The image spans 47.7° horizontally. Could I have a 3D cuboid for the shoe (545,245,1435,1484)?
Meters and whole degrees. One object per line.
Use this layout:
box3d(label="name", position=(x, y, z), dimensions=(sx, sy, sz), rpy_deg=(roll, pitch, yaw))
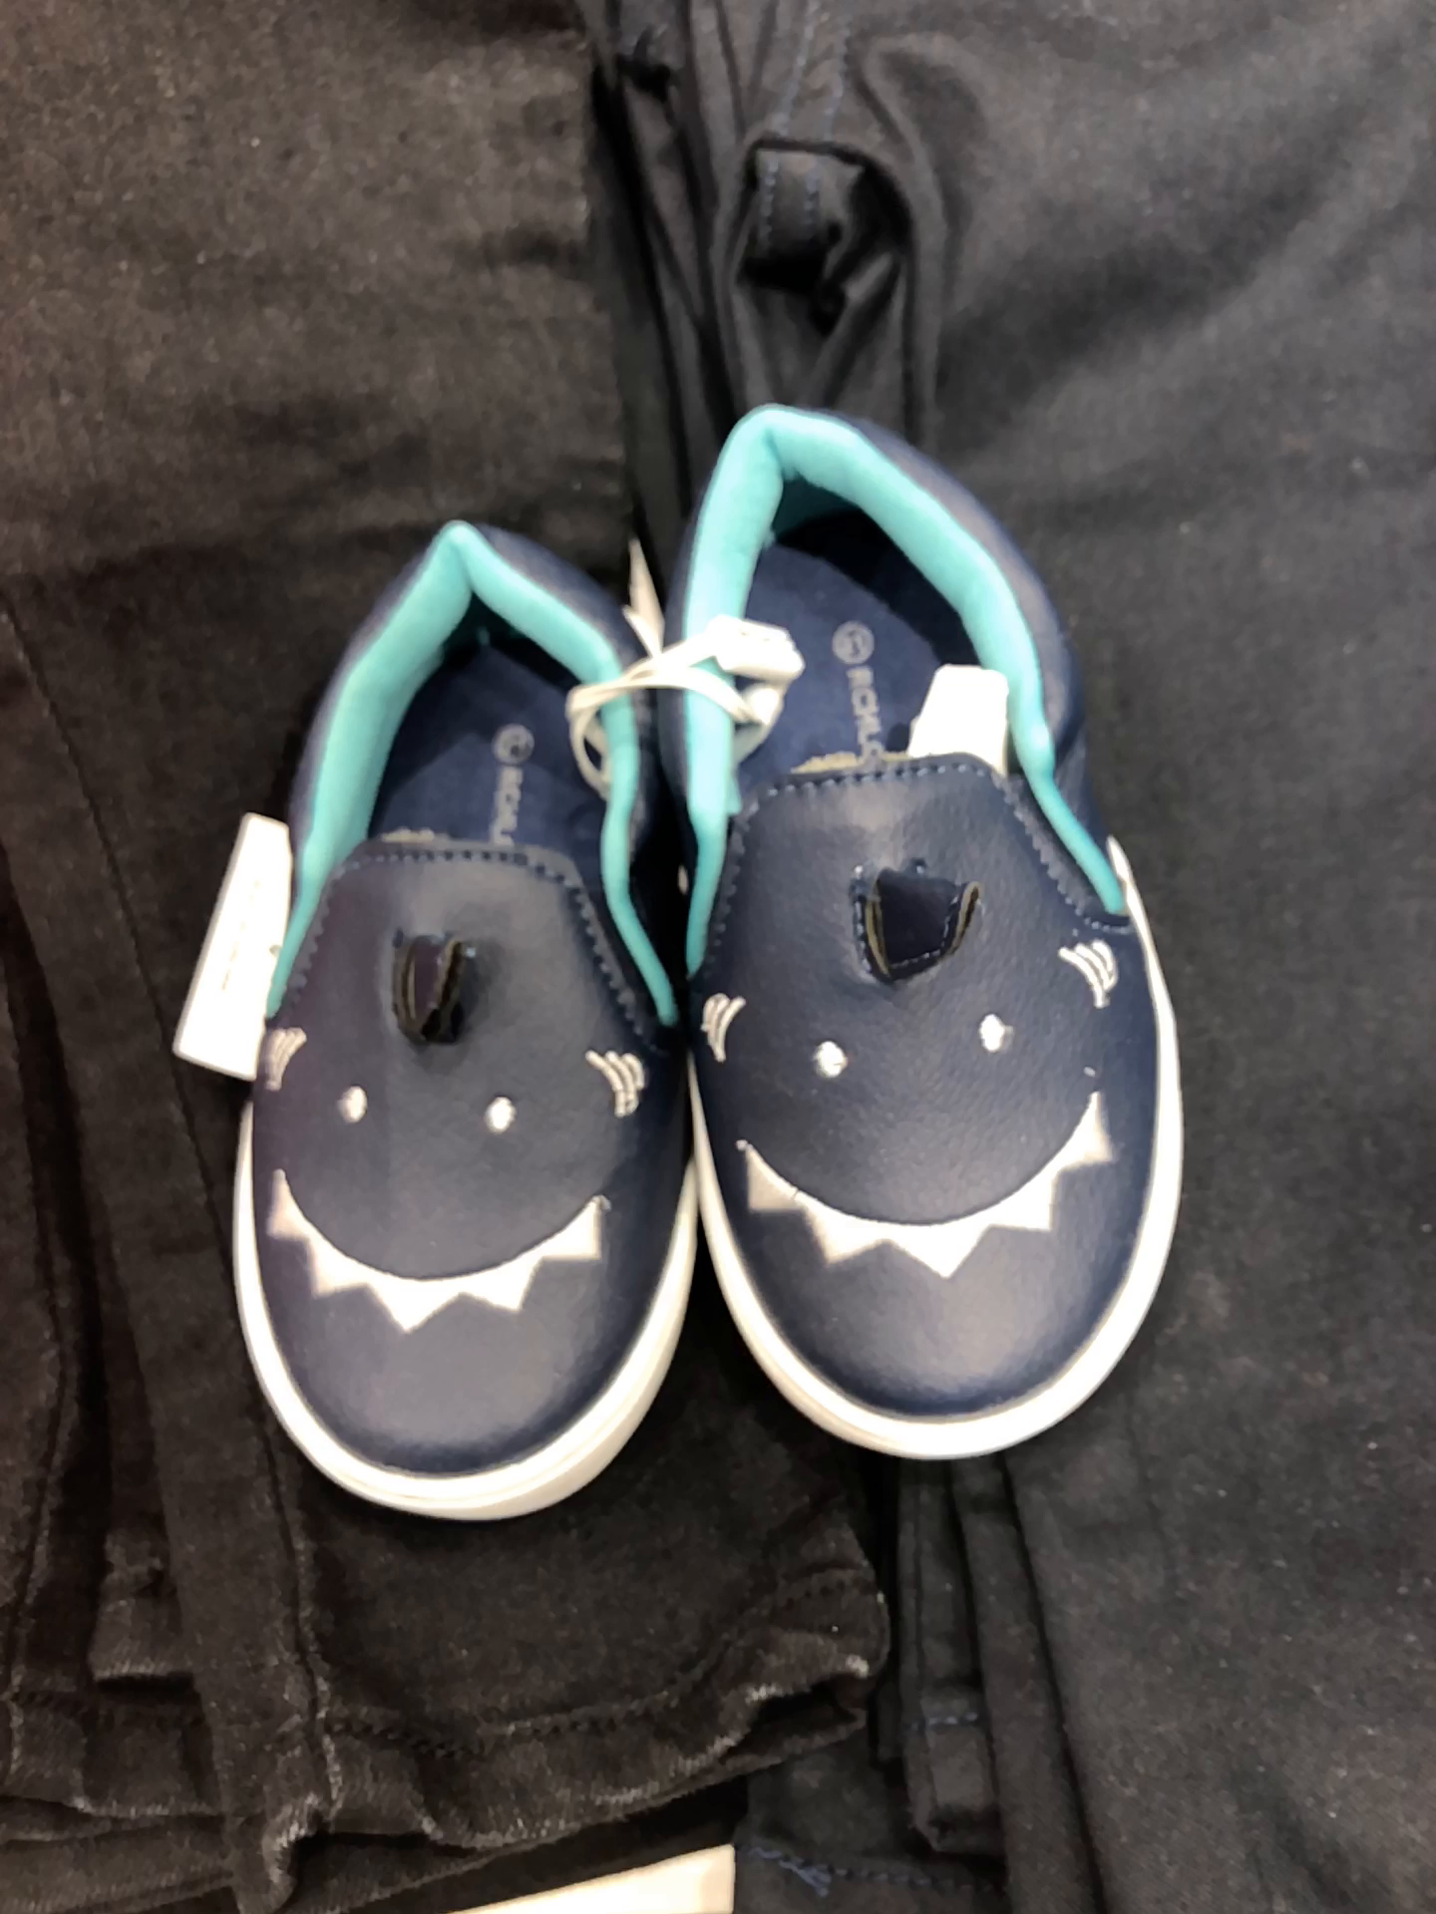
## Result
box3d(label="shoe", position=(0.029, -0.013, 0.221), dimensions=(0.080, 0.050, 0.150), rpy_deg=(-9, 71, -1))

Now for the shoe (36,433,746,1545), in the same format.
box3d(label="shoe", position=(-0.037, 0.004, 0.234), dimensions=(0.080, 0.050, 0.150), rpy_deg=(0, 71, 2))
